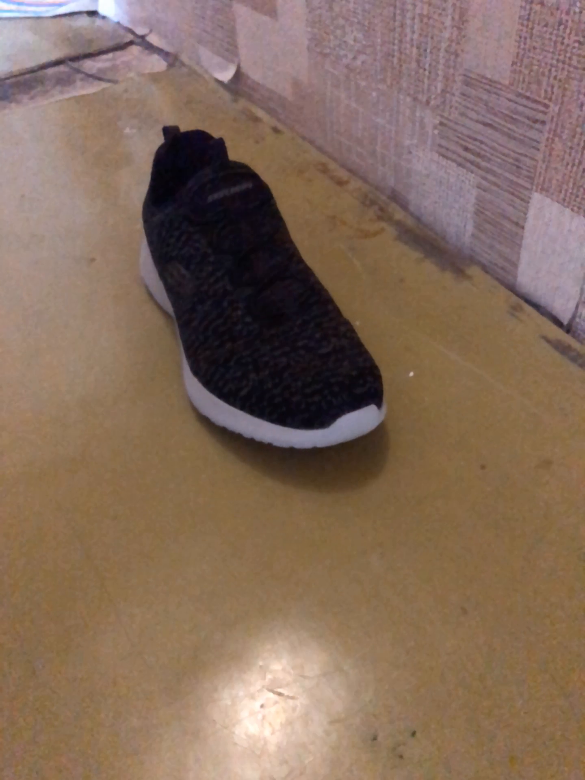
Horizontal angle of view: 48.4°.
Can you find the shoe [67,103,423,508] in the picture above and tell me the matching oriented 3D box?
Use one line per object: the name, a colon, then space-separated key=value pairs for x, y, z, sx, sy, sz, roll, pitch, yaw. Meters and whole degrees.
shoe: x=-0.053 y=-0.088 z=0.496 sx=0.120 sy=0.129 sz=0.321 roll=-22 pitch=47 yaw=-19
